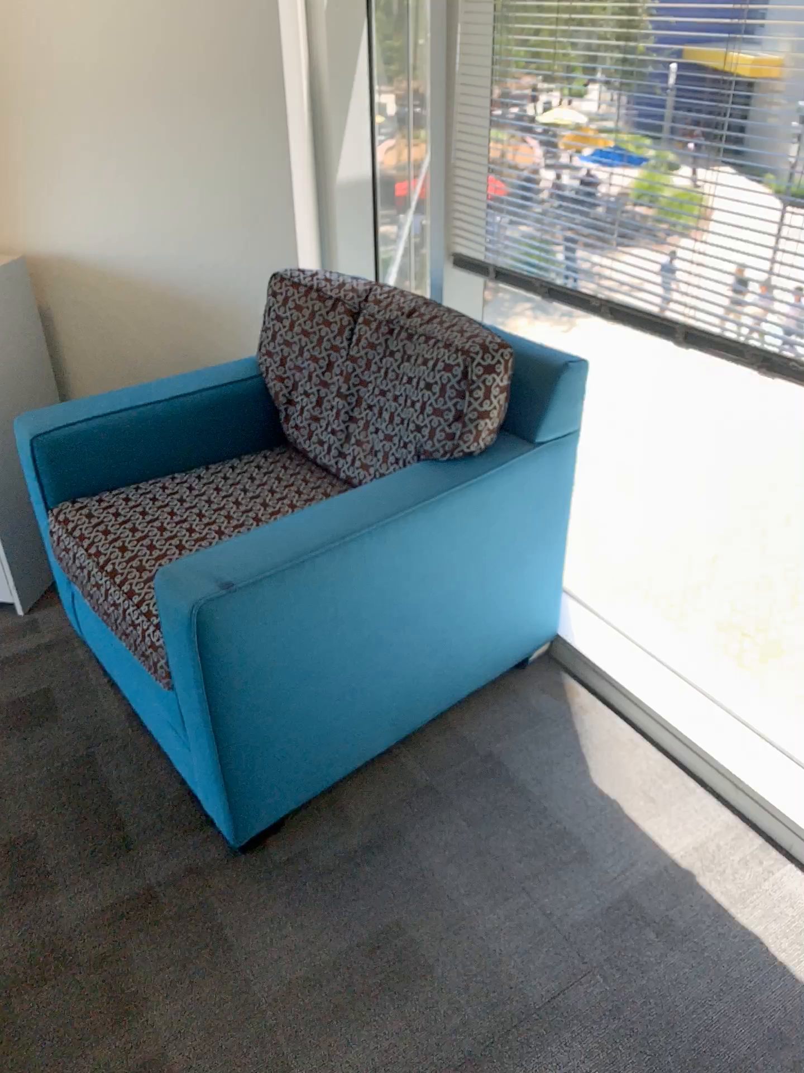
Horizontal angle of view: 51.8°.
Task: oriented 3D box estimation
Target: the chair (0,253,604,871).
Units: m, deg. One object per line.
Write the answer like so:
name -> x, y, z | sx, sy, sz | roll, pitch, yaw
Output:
chair -> -0.251, -0.066, 1.882 | 0.911, 0.805, 0.935 | -24, 39, -31
